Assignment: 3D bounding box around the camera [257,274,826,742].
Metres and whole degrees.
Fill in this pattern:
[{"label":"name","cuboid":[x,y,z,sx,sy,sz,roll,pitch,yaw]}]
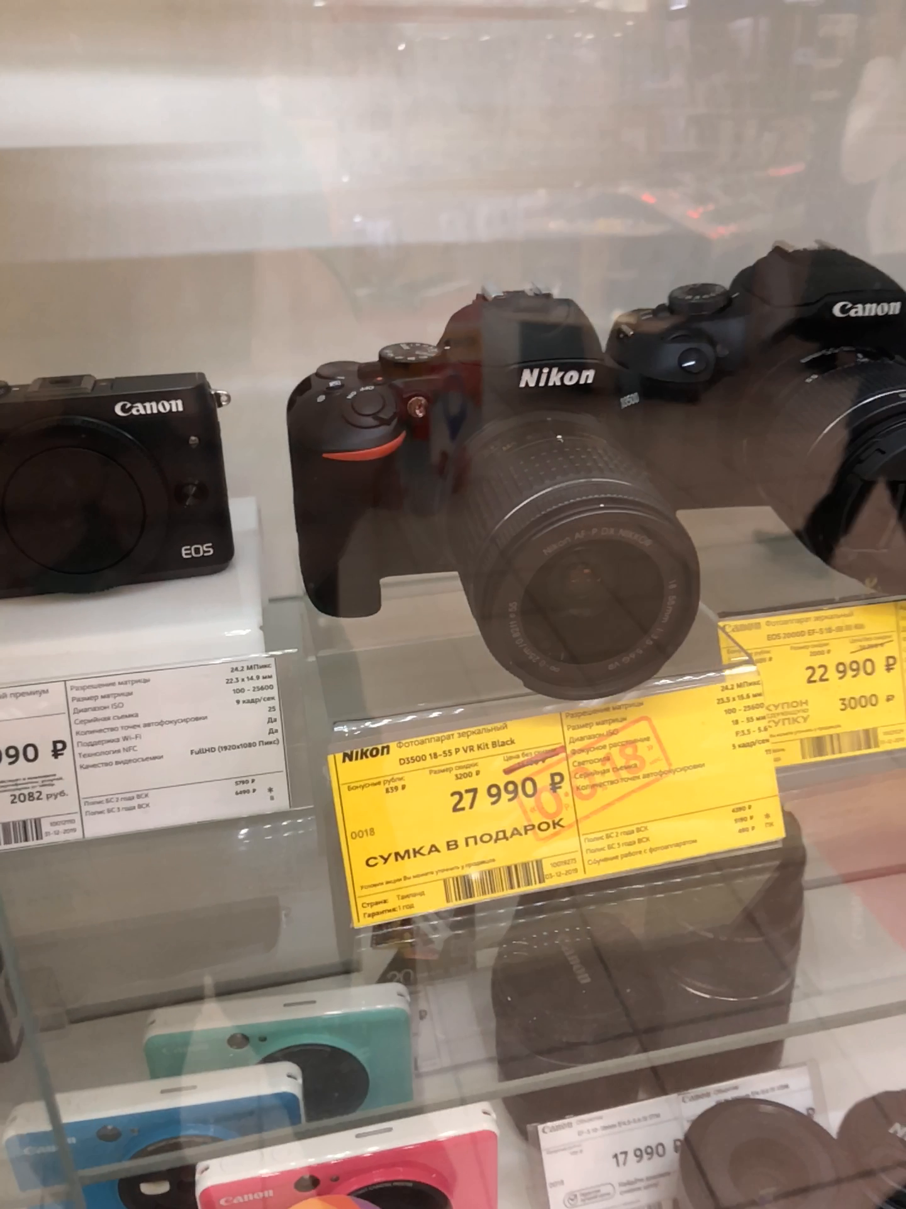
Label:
[{"label":"camera","cuboid":[0.014,-0.039,0.302,0.130,0.092,0.121,-6,26,-10]}]
